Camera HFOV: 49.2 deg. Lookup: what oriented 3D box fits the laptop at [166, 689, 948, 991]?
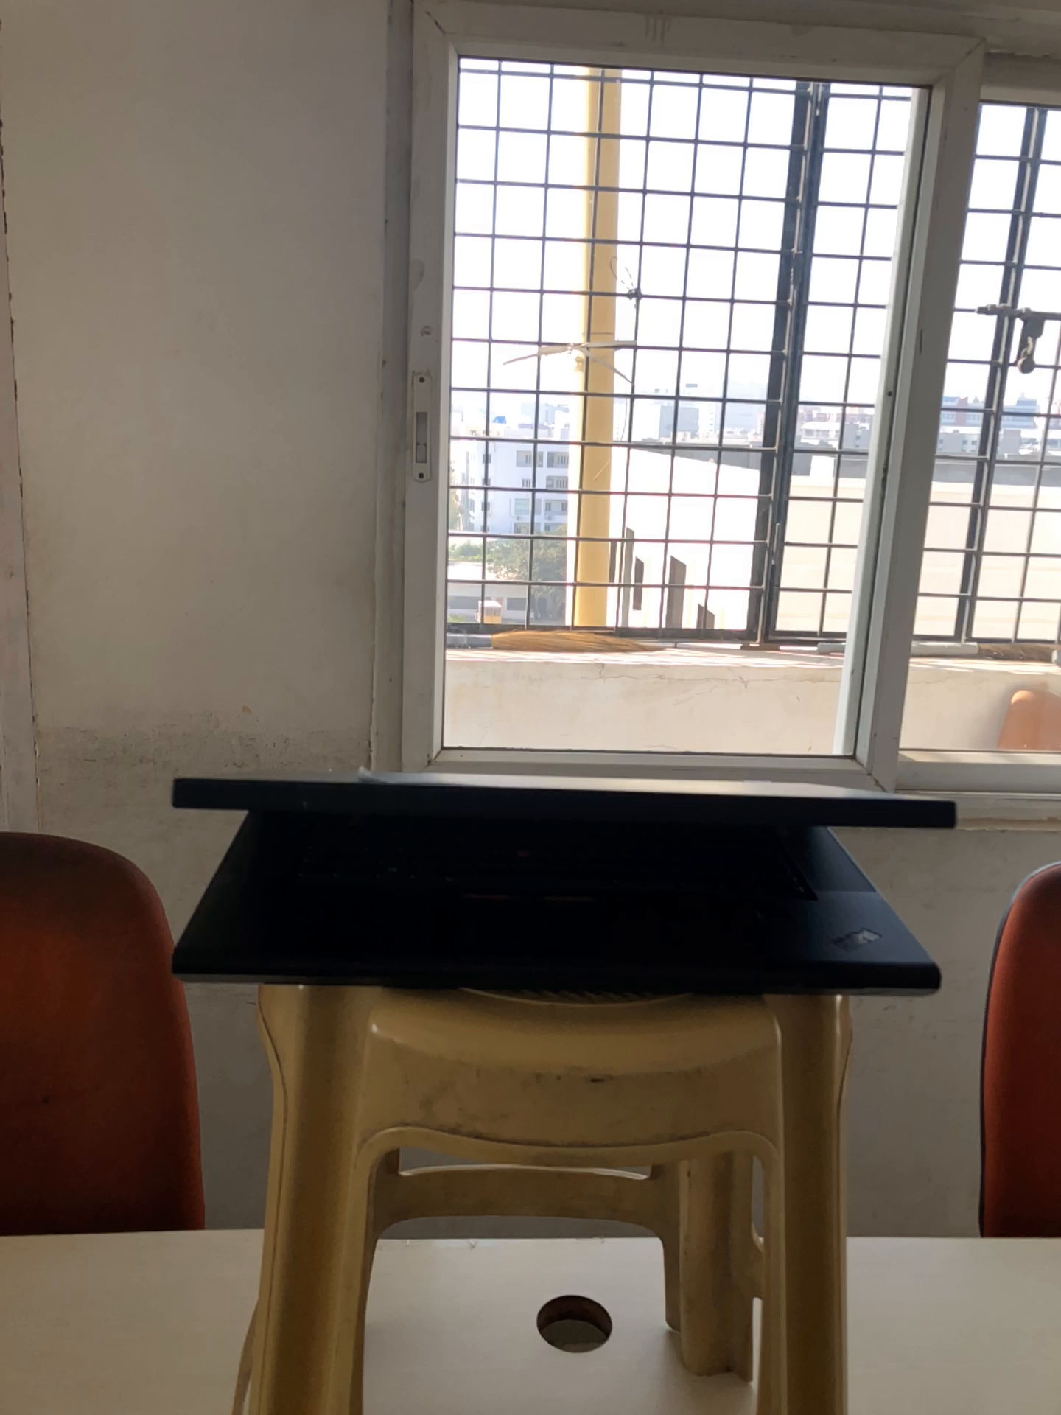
[{"bbox_3d":[0.012,0.063,0.655,0.362,0.075,0.235,2,16,-4],"label":"laptop"}]
